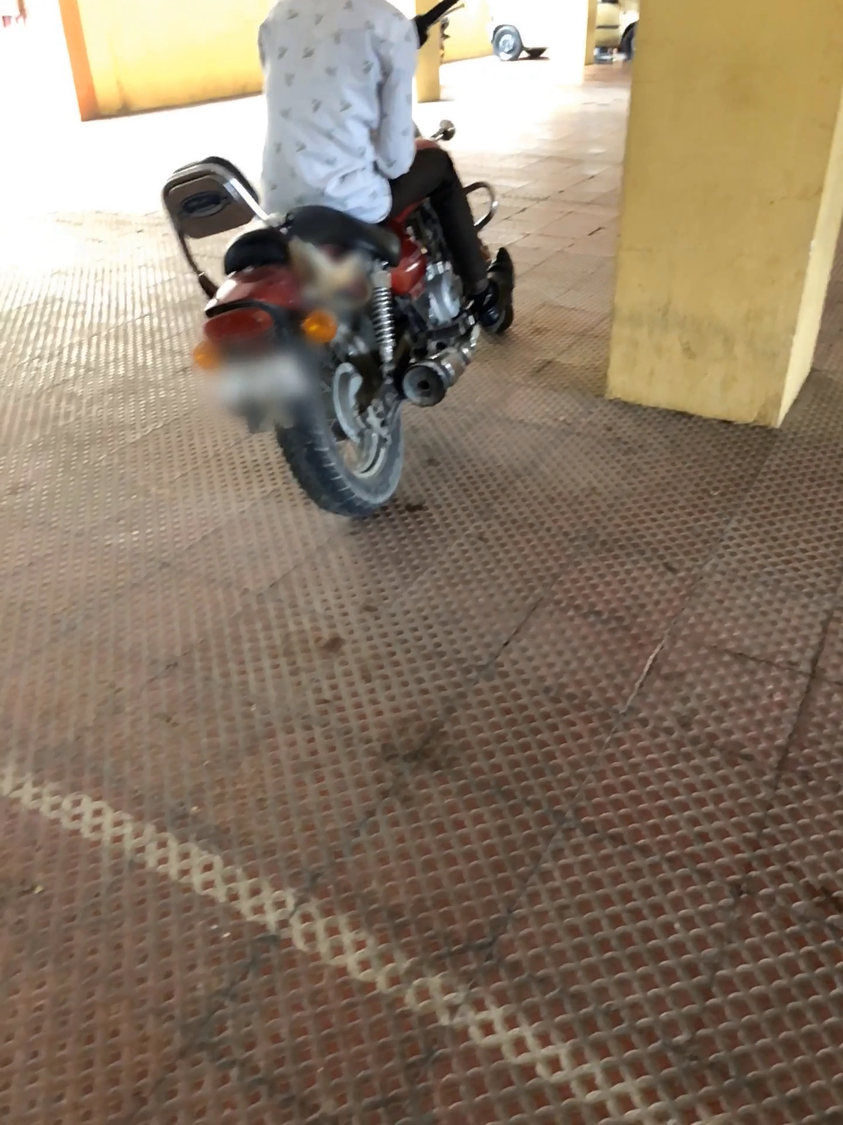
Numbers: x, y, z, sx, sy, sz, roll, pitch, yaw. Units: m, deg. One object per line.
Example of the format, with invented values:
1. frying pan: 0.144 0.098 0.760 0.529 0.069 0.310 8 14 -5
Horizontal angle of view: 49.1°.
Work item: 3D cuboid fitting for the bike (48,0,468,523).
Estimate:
1. bike: -0.276 -1.120 2.596 0.756 1.048 1.658 2 38 5
